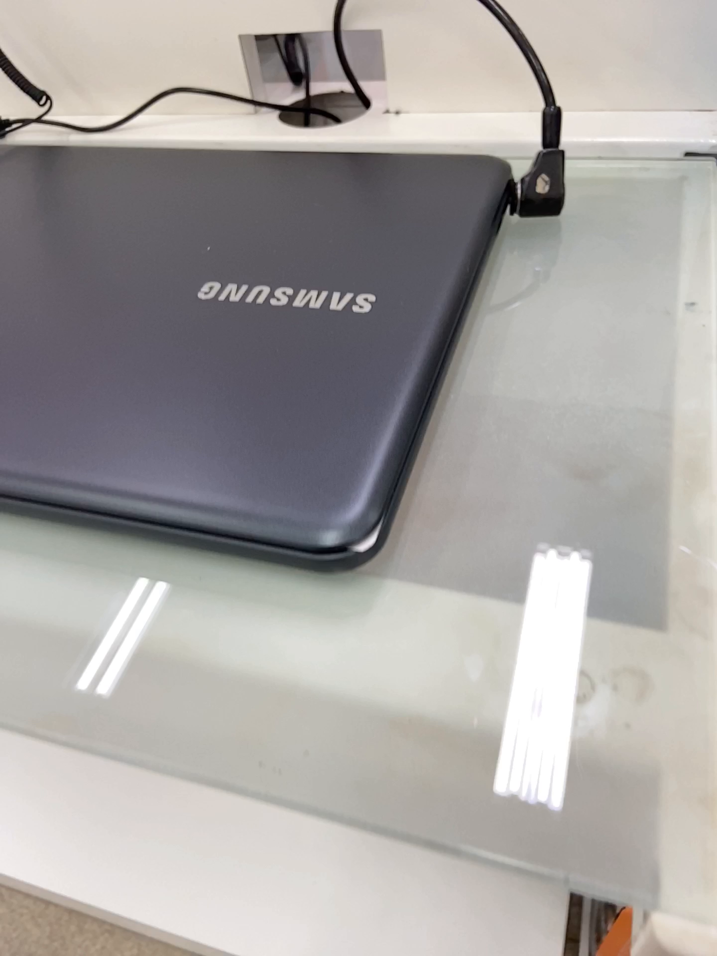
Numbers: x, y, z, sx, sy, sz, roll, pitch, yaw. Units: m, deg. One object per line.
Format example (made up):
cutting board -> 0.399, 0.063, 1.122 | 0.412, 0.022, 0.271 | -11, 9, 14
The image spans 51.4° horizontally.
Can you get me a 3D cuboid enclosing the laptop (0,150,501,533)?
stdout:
laptop -> -0.133, -0.093, 0.332 | 0.351, 0.001, 0.233 | 8, 49, 17
